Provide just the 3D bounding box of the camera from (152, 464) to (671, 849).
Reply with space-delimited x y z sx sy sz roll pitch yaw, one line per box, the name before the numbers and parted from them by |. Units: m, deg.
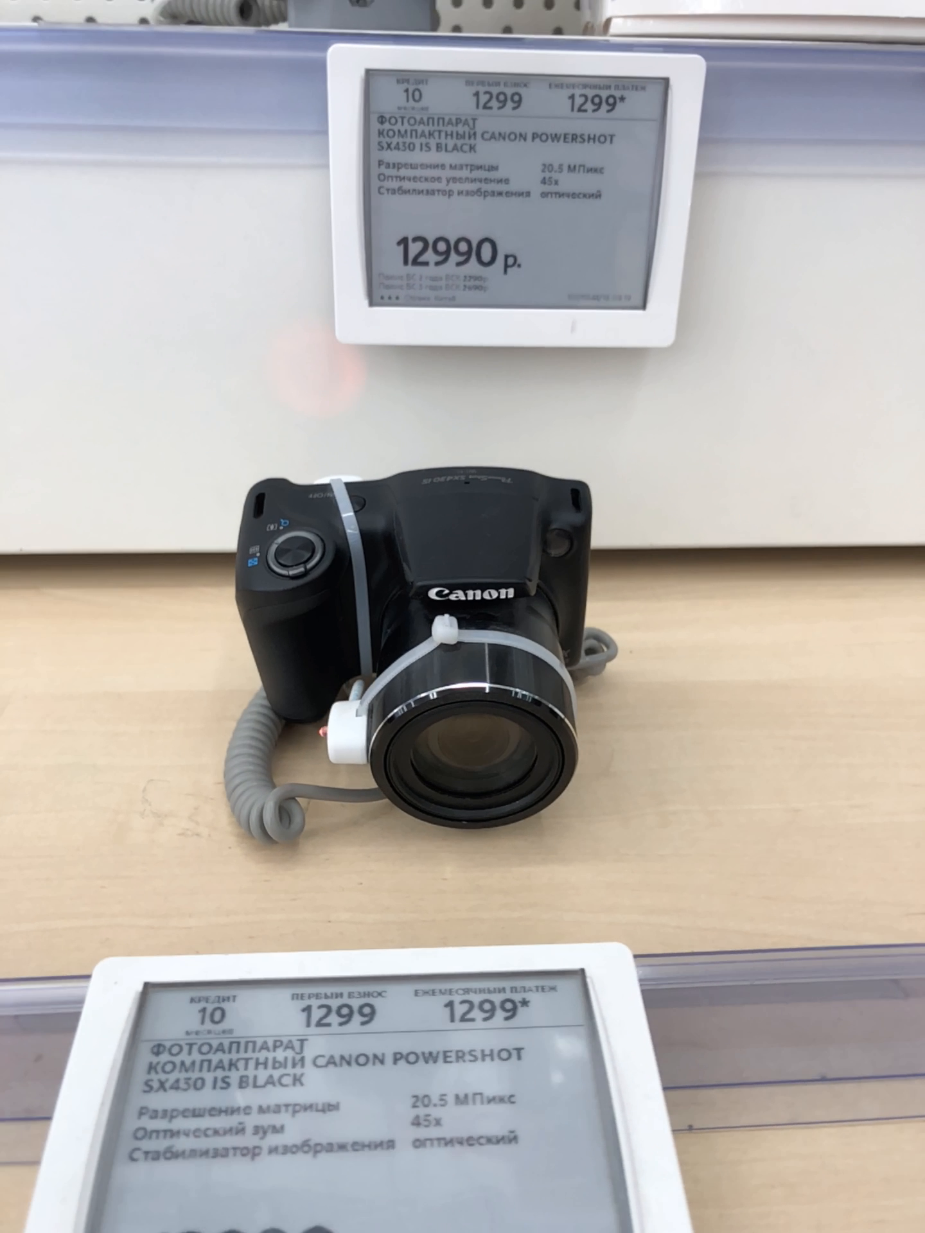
camera | -0.016 0.005 0.285 0.116 0.062 0.093 -2 28 -7
